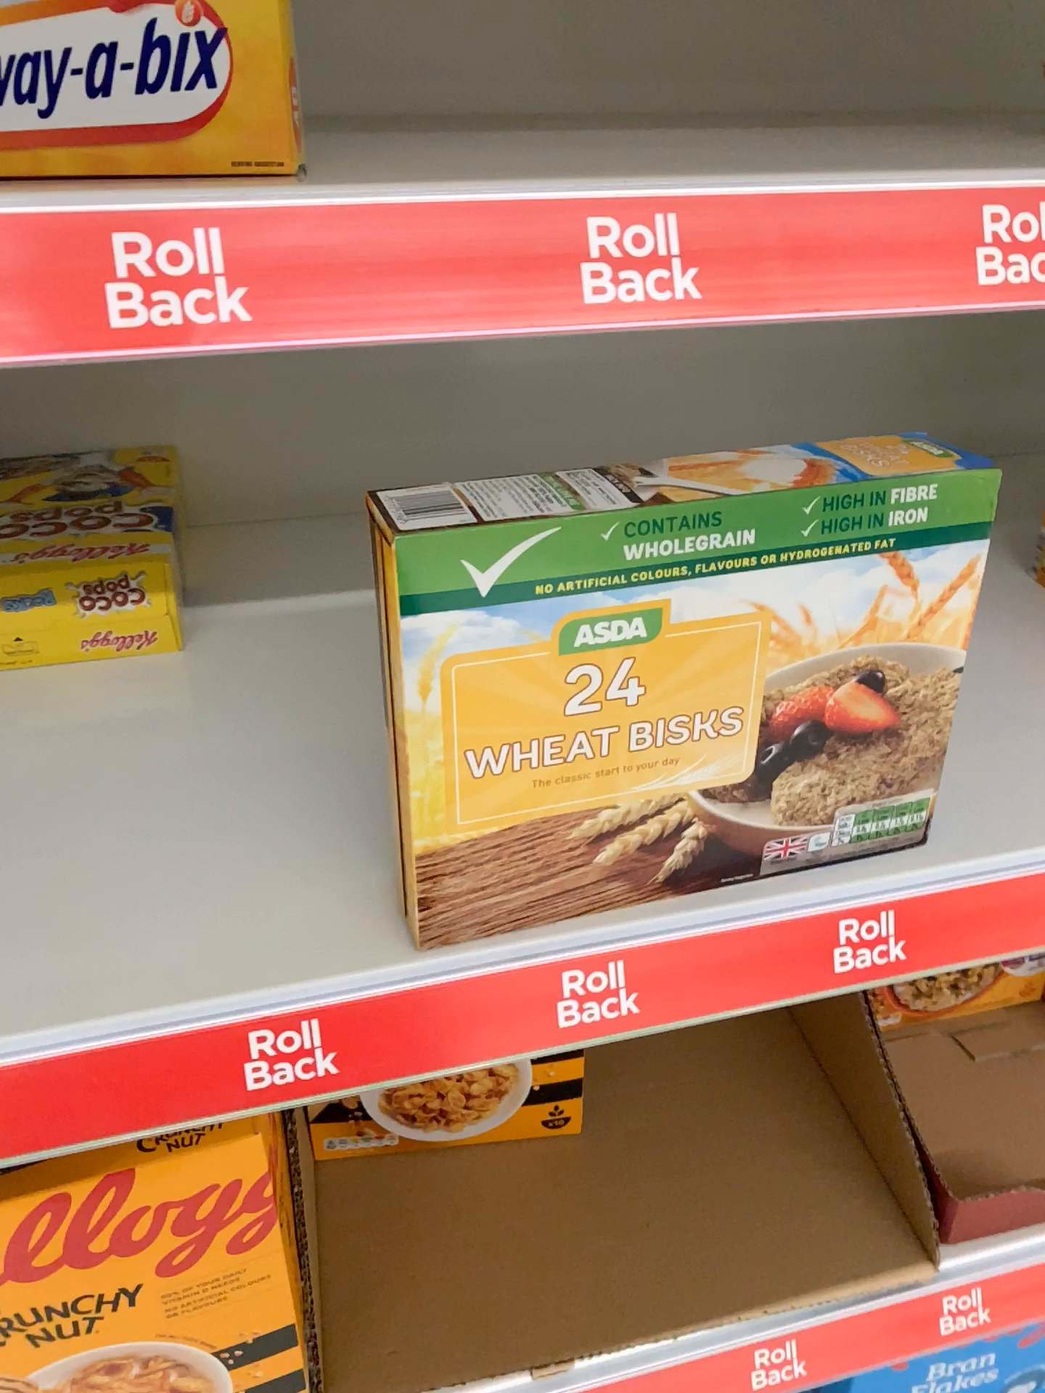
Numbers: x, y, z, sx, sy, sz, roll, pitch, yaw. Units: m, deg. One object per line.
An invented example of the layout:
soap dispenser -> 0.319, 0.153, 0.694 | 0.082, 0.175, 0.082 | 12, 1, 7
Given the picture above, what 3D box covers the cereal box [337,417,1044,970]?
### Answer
cereal box -> 0.071, -0.006, 0.440 | 0.270, 0.178, 0.060 | -9, 31, -16
